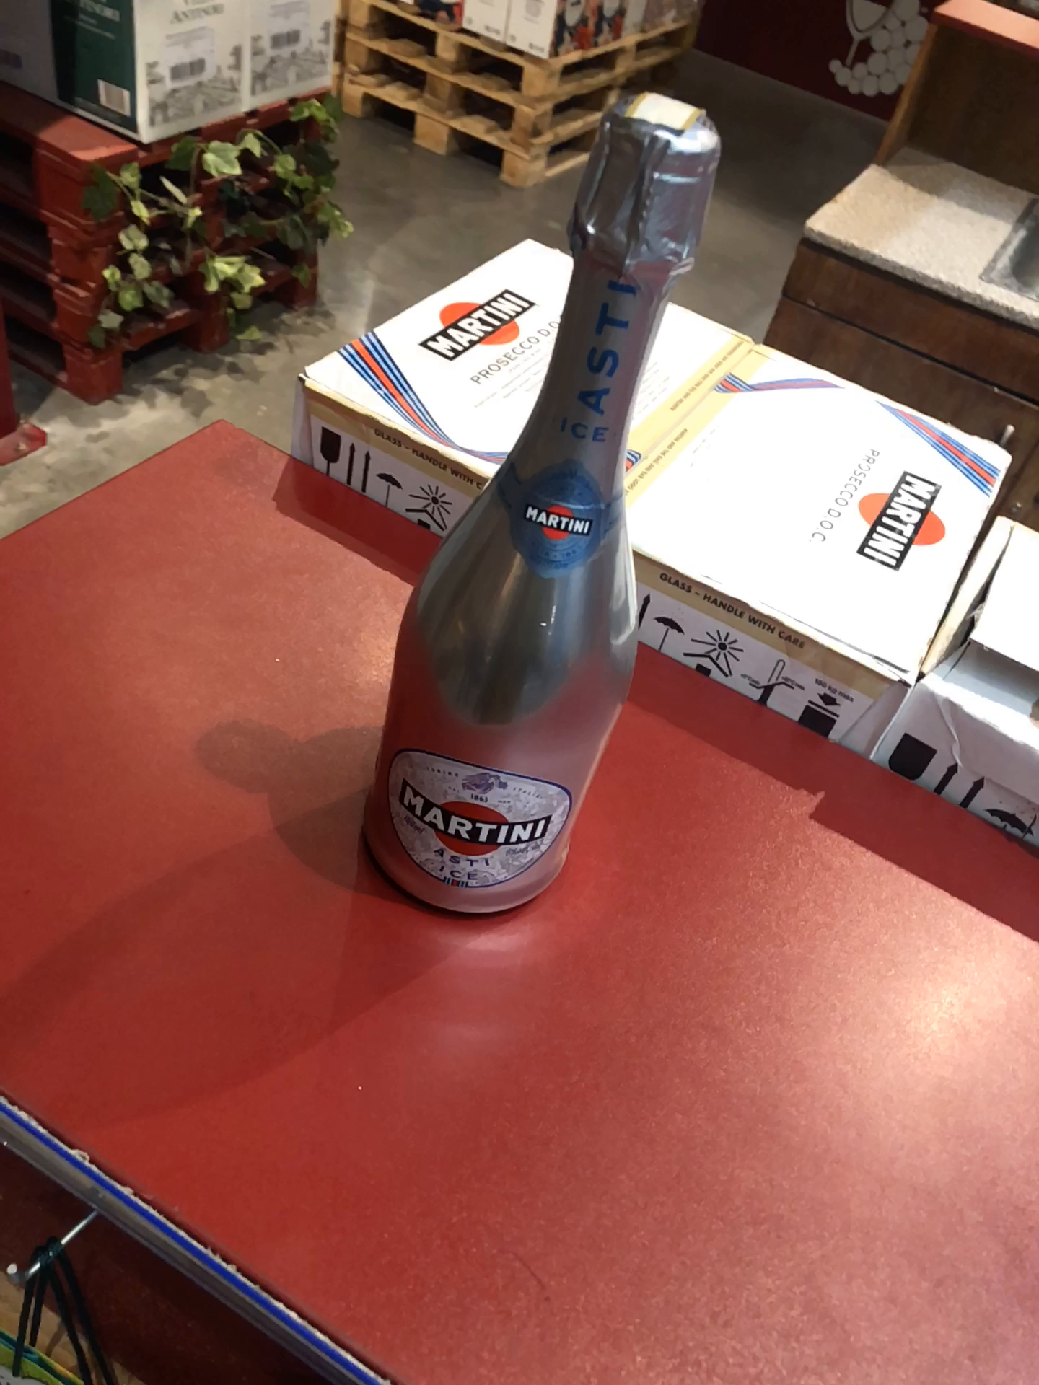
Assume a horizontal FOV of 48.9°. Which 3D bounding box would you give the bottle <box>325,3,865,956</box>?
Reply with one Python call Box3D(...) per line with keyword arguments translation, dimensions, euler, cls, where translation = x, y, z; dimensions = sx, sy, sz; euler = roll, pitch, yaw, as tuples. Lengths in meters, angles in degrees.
Box3D(translation=(0.008, -0.045, 0.391), dimensions=(0.100, 0.298, 0.101), euler=(8, 44, -8), cls="bottle")
